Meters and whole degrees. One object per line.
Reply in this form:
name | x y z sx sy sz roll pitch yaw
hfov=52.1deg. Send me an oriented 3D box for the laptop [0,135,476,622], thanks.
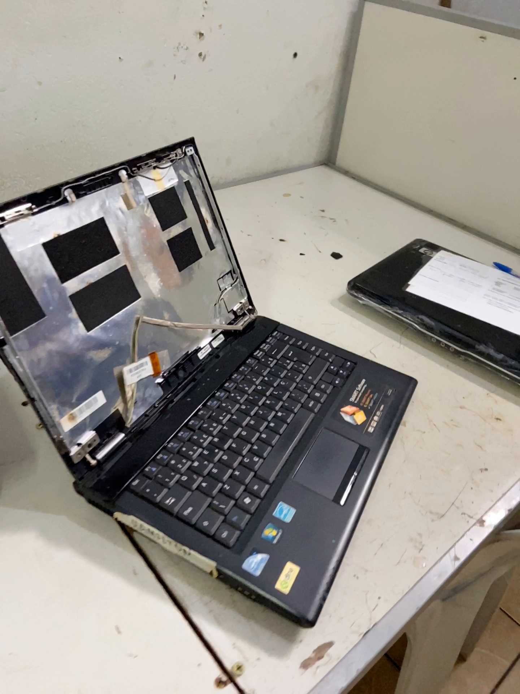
laptop | -0.020 -0.021 0.515 0.335 0.205 0.335 23 40 18
